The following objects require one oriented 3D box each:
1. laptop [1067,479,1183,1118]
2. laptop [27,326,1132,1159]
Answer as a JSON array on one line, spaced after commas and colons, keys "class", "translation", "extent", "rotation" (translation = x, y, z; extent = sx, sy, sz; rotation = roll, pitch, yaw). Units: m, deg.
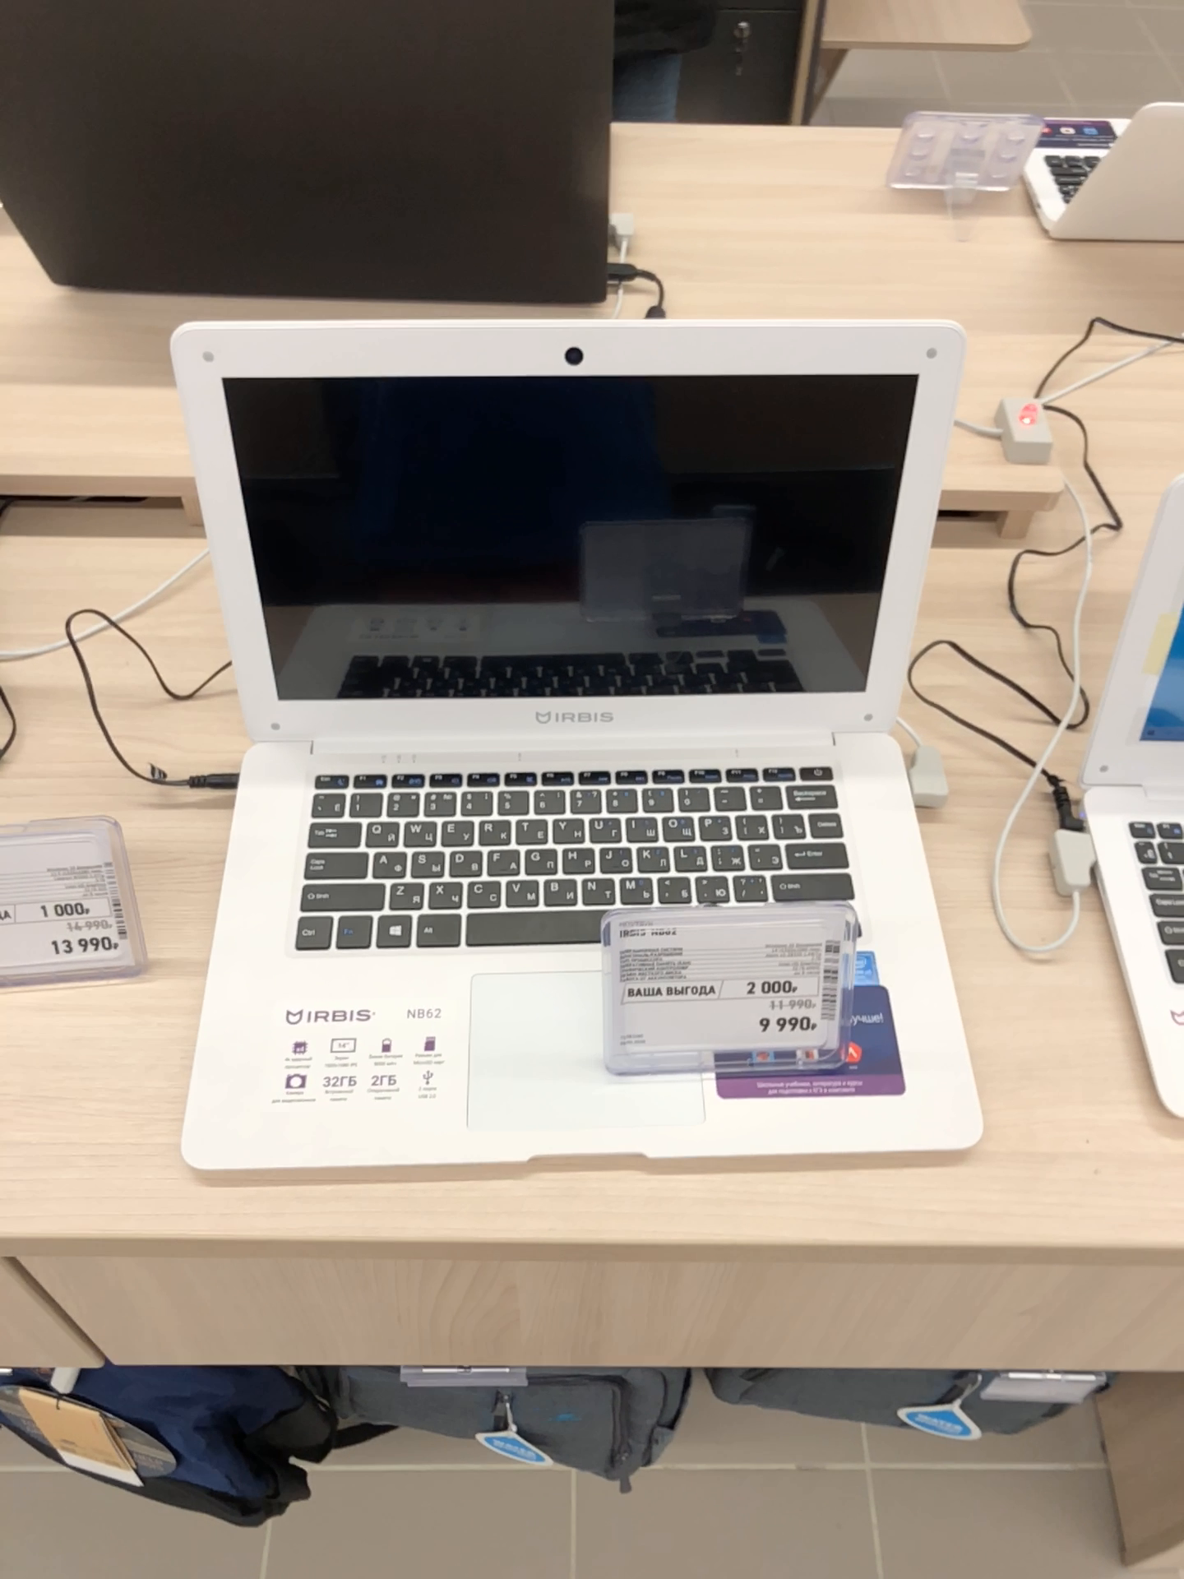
[{"class": "laptop", "translation": [0.393, 0.002, 0.573], "extent": [0.259, 0.167, 0.221], "rotation": [0, 52, 0]}, {"class": "laptop", "translation": [-0.006, -0.023, 0.559], "extent": [0.333, 0.207, 0.280], "rotation": [-1, 52, -2]}]
